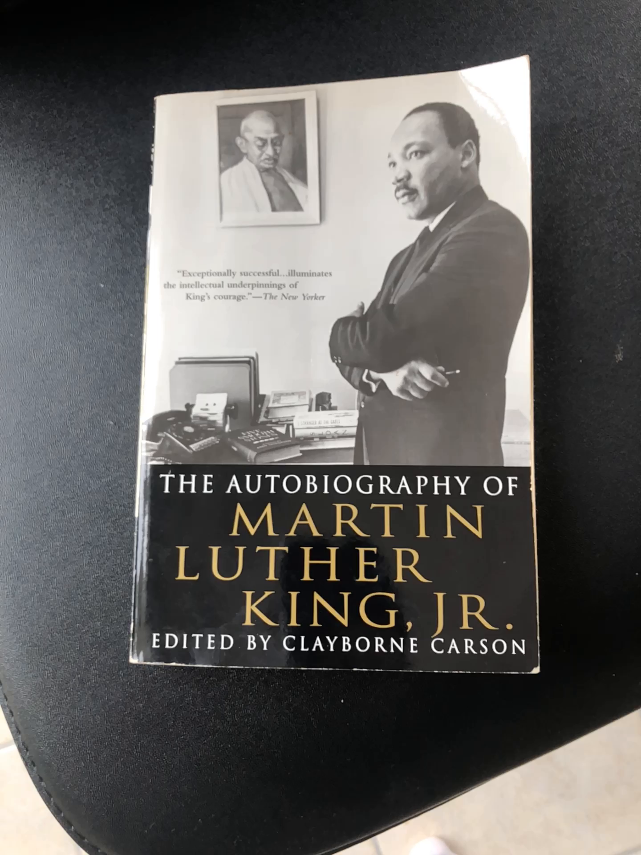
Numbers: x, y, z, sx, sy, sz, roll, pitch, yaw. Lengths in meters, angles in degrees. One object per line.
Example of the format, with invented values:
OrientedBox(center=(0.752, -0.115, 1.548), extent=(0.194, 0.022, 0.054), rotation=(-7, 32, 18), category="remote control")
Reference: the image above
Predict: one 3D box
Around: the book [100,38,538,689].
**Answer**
OrientedBox(center=(0.001, -0.024, 0.289), extent=(0.160, 0.050, 0.230), rotation=(0, 86, 10), category="book")
